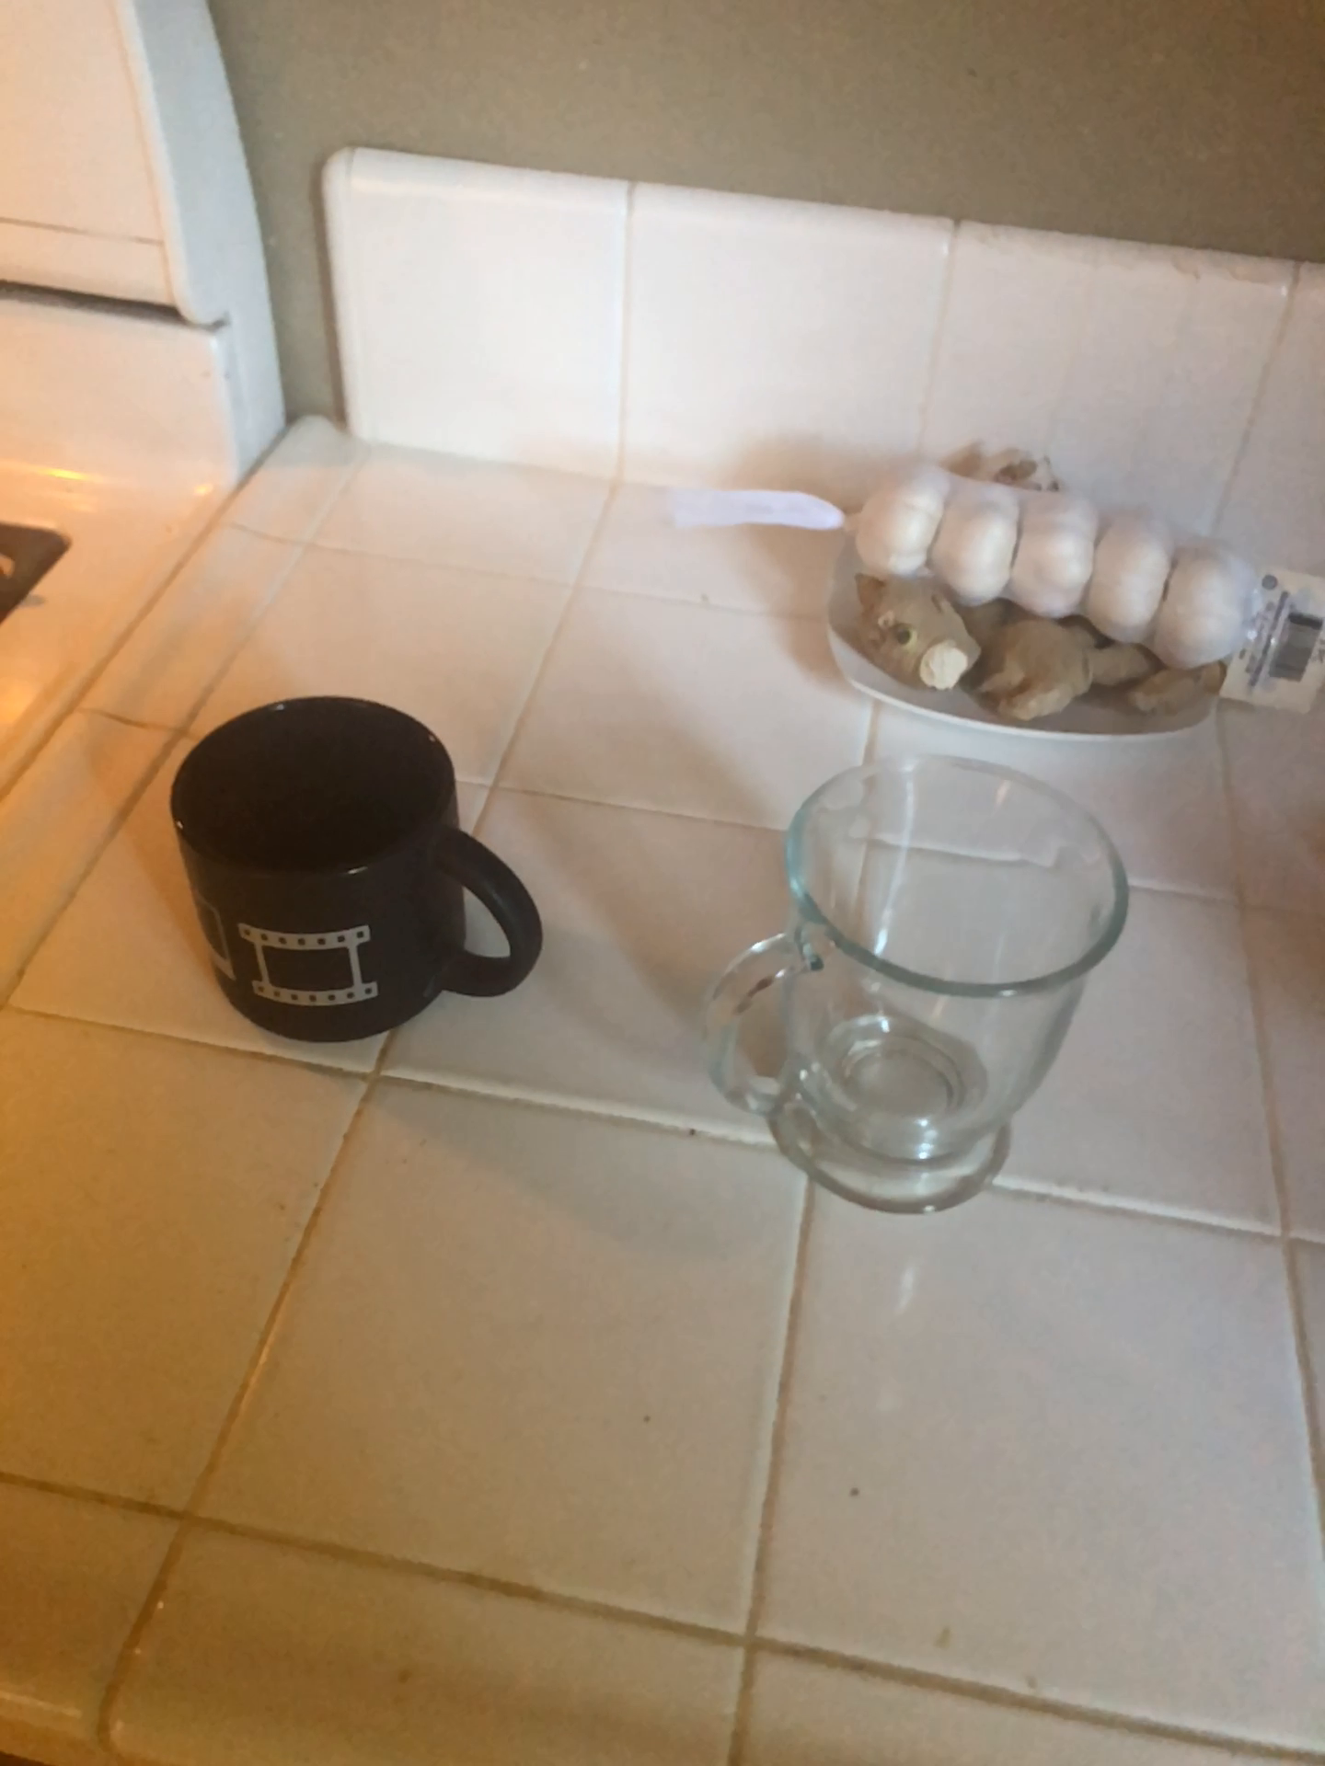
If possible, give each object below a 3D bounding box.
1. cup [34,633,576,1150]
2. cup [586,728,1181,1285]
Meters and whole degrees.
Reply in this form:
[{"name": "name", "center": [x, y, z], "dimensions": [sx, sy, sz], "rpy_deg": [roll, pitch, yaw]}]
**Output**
[{"name": "cup", "center": [-0.110, -0.001, 0.485], "dimensions": [0.130, 0.089, 0.101], "rpy_deg": [21, 48, 17]}, {"name": "cup", "center": [0.057, 0.036, 0.453], "dimensions": [0.140, 0.109, 0.101], "rpy_deg": [-10, 47, -13]}]
